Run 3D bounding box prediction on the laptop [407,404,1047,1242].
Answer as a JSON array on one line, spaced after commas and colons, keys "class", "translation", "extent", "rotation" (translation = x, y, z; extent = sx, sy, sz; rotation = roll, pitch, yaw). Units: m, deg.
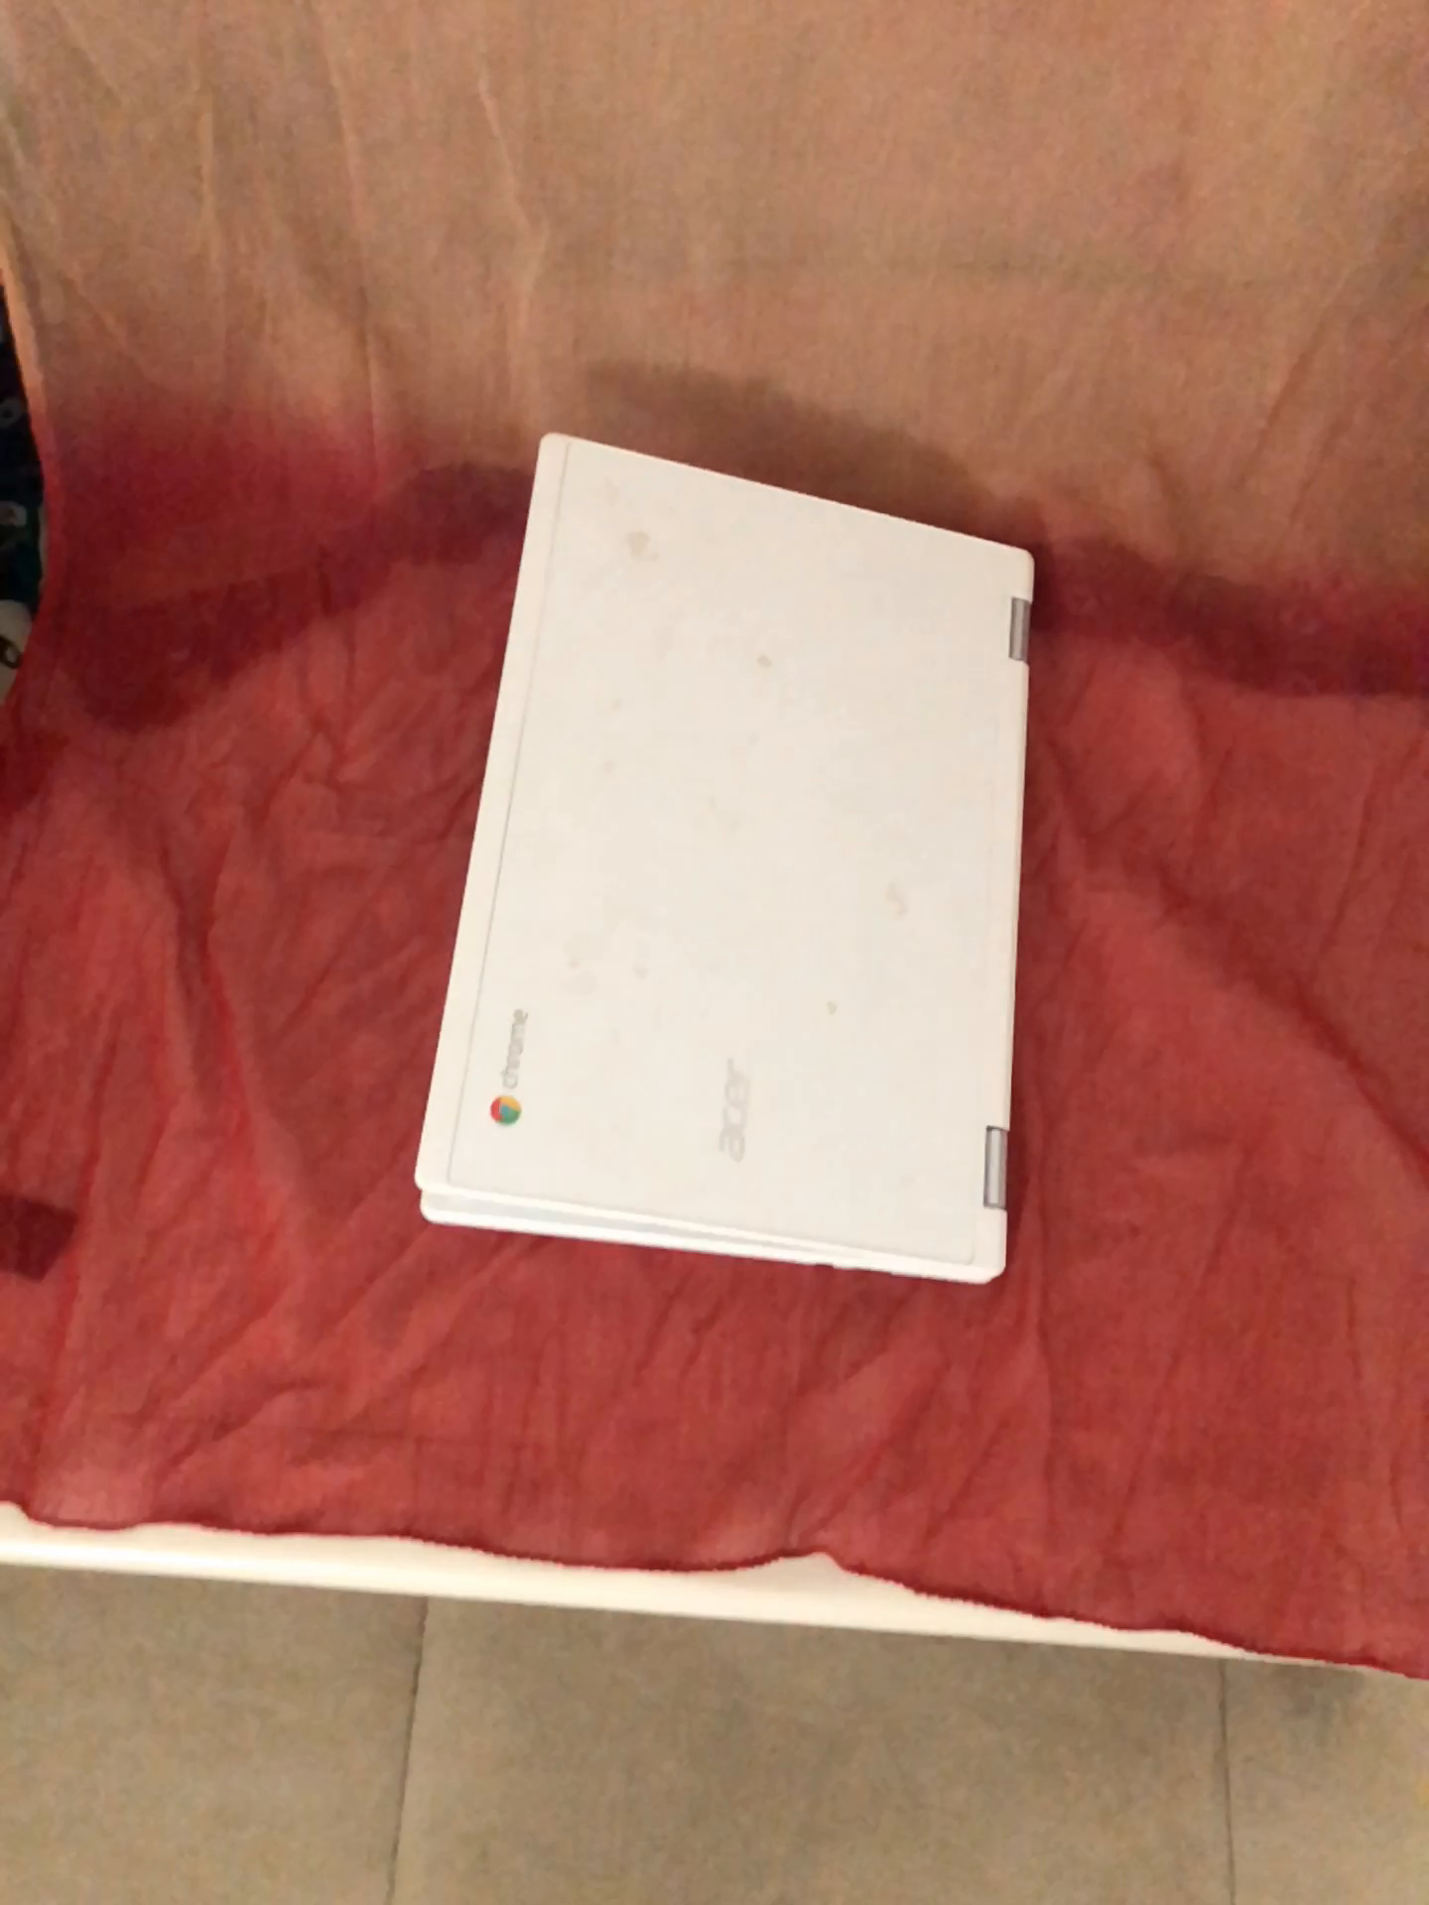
[{"class": "laptop", "translation": [0.014, -0.055, 0.574], "extent": [0.189, 0.056, 0.288], "rotation": [7, 69, 2]}]
